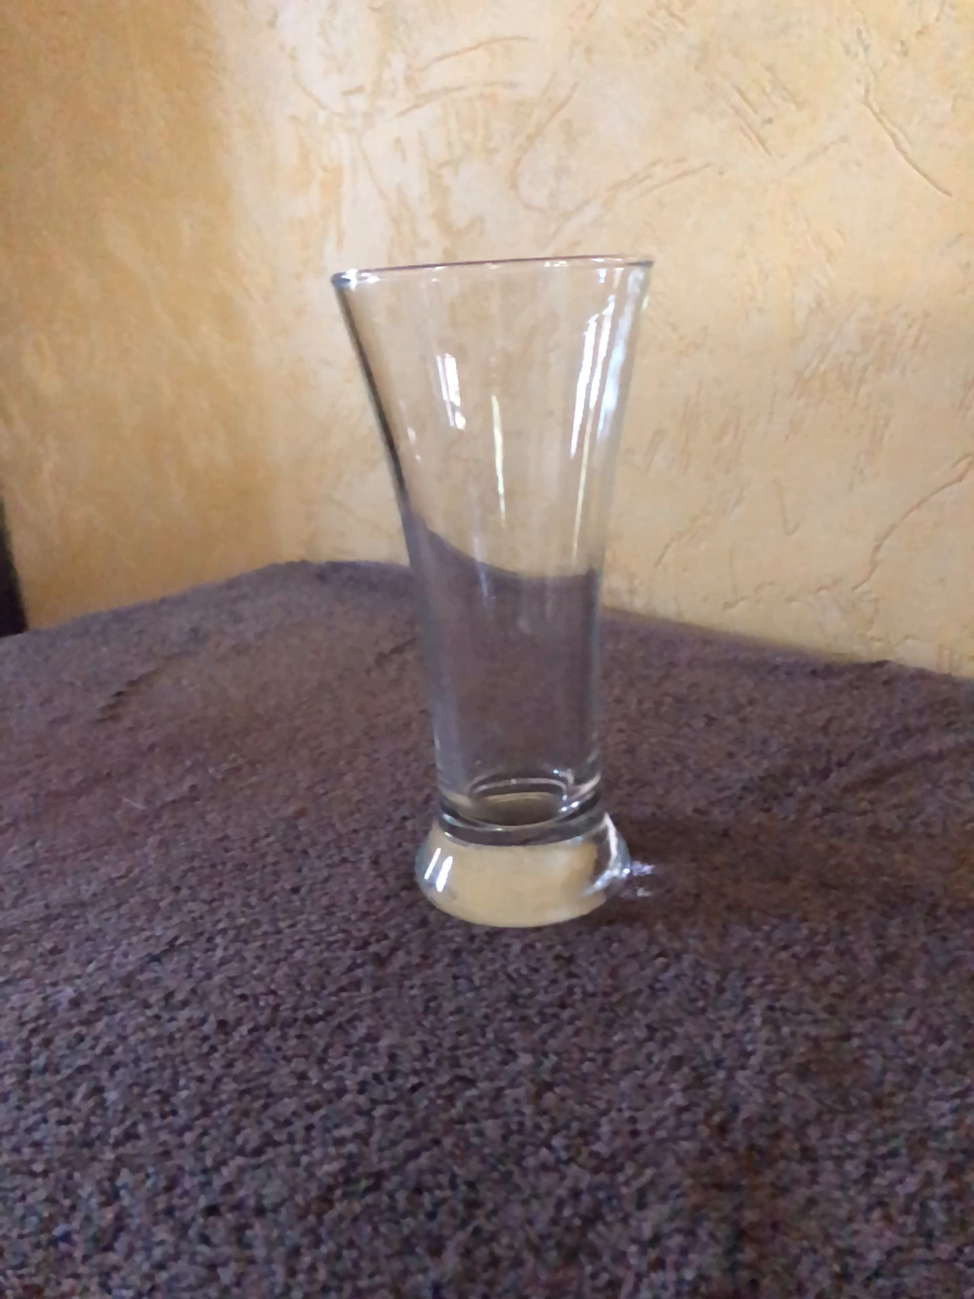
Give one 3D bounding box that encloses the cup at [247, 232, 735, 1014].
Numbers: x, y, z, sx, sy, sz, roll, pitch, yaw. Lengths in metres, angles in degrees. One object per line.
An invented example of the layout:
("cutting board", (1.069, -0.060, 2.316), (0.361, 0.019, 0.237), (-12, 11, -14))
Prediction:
("cup", (0.011, -0.011, 0.248), (0.080, 0.149, 0.080), (-4, 17, 1))
